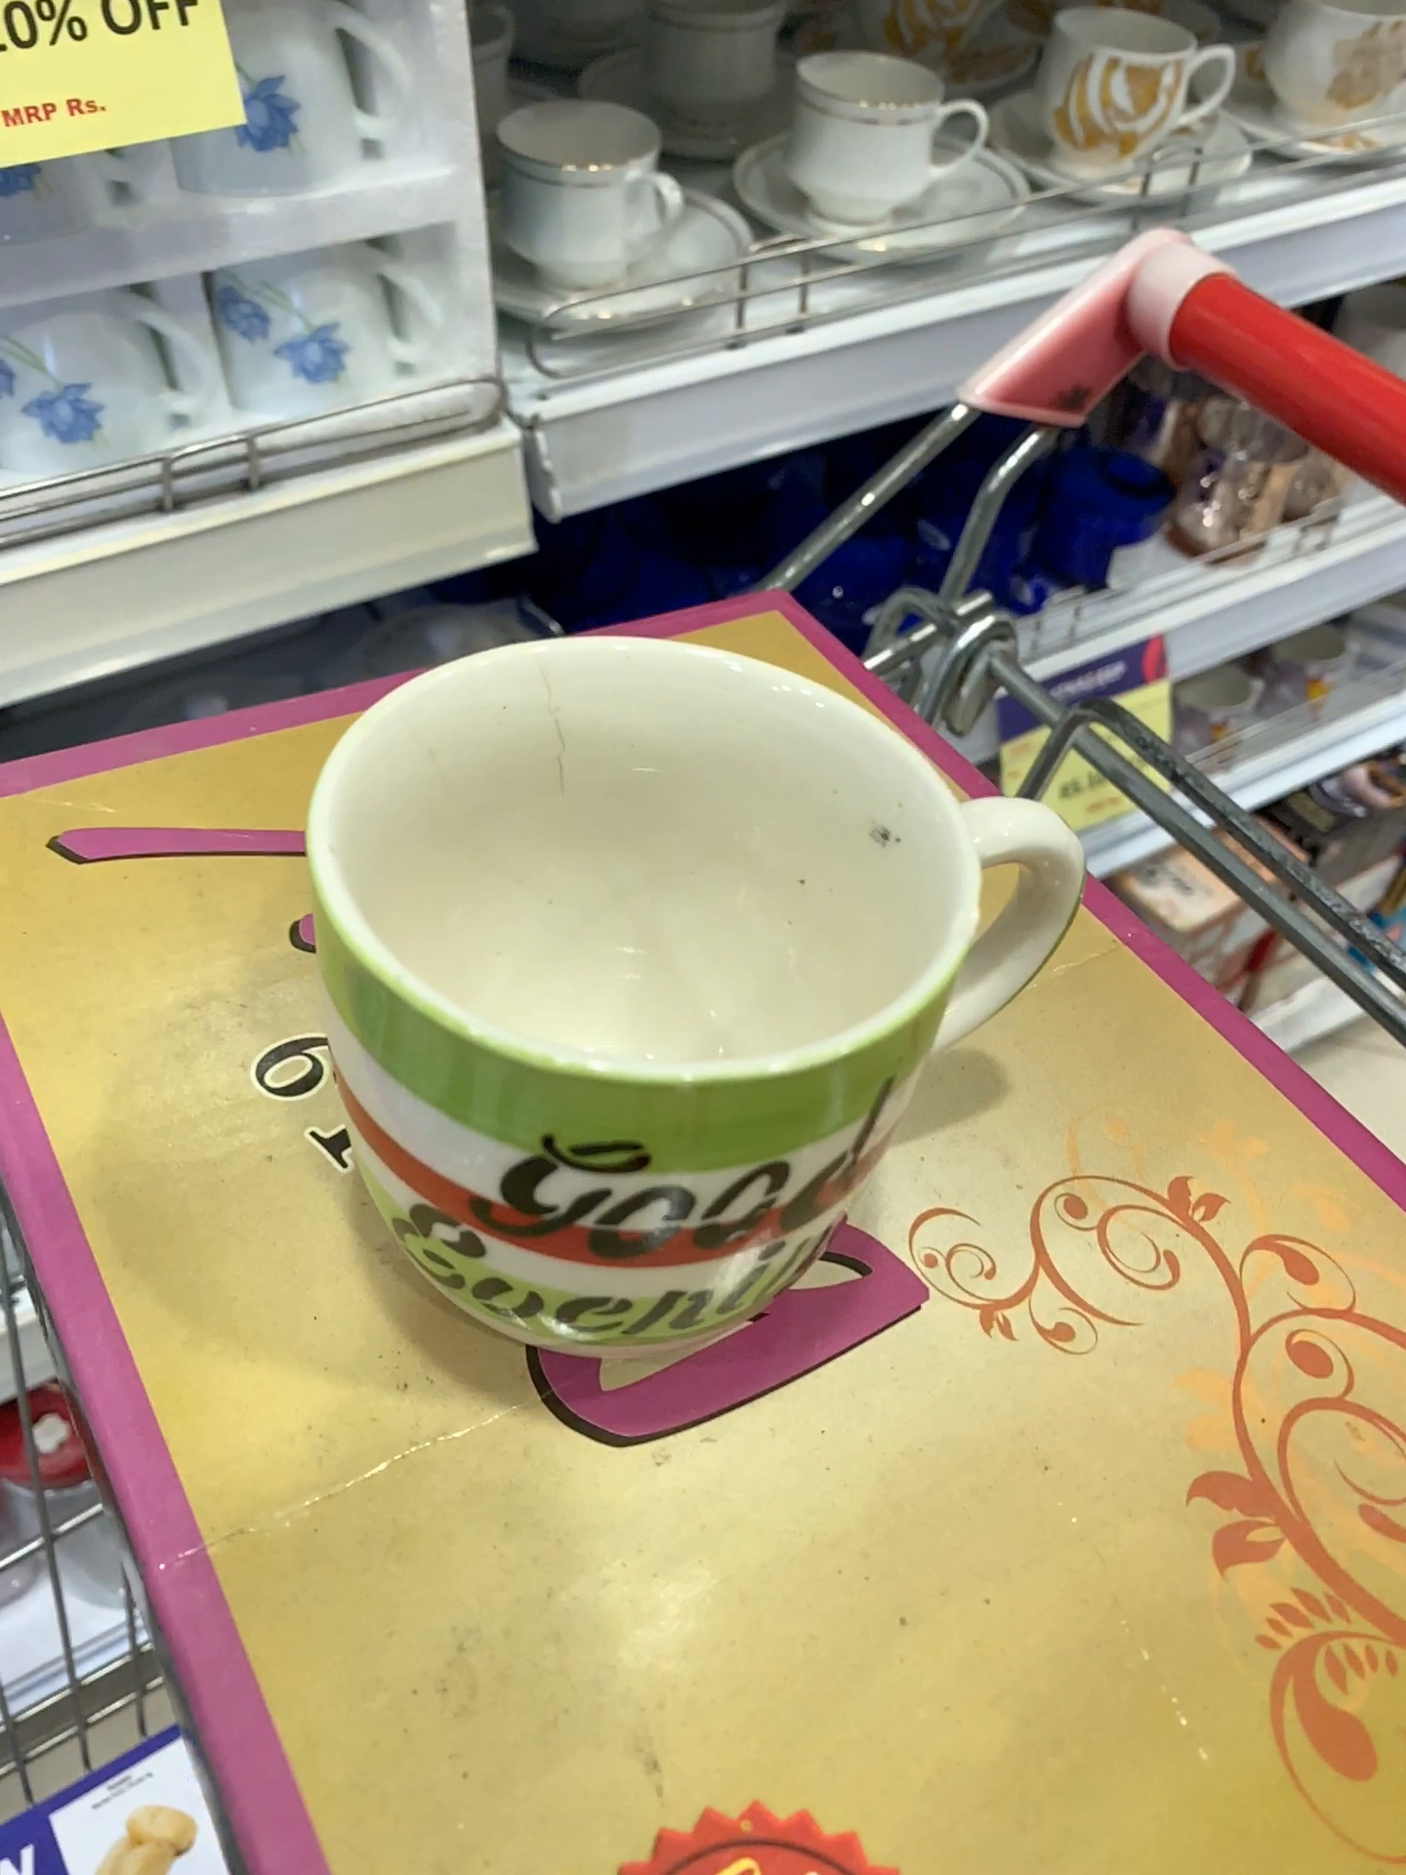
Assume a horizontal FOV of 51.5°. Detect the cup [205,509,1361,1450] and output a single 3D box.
[{"bbox_3d":[0.004,-0.003,0.189,0.110,0.060,0.080,-14,46,-21],"label":"cup"}]
